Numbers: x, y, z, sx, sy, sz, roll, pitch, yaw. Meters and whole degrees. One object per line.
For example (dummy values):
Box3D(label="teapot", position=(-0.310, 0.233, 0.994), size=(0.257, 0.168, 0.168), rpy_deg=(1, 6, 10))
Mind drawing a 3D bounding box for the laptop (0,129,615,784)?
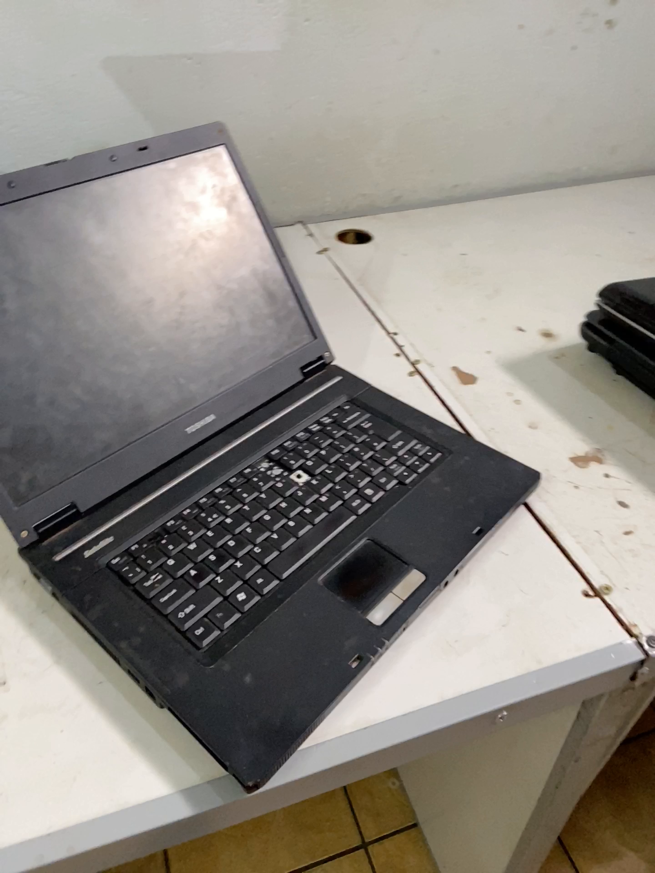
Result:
Box3D(label="laptop", position=(-0.073, -0.051, 0.529), size=(0.402, 0.212, 0.357), rpy_deg=(31, 48, 30))
